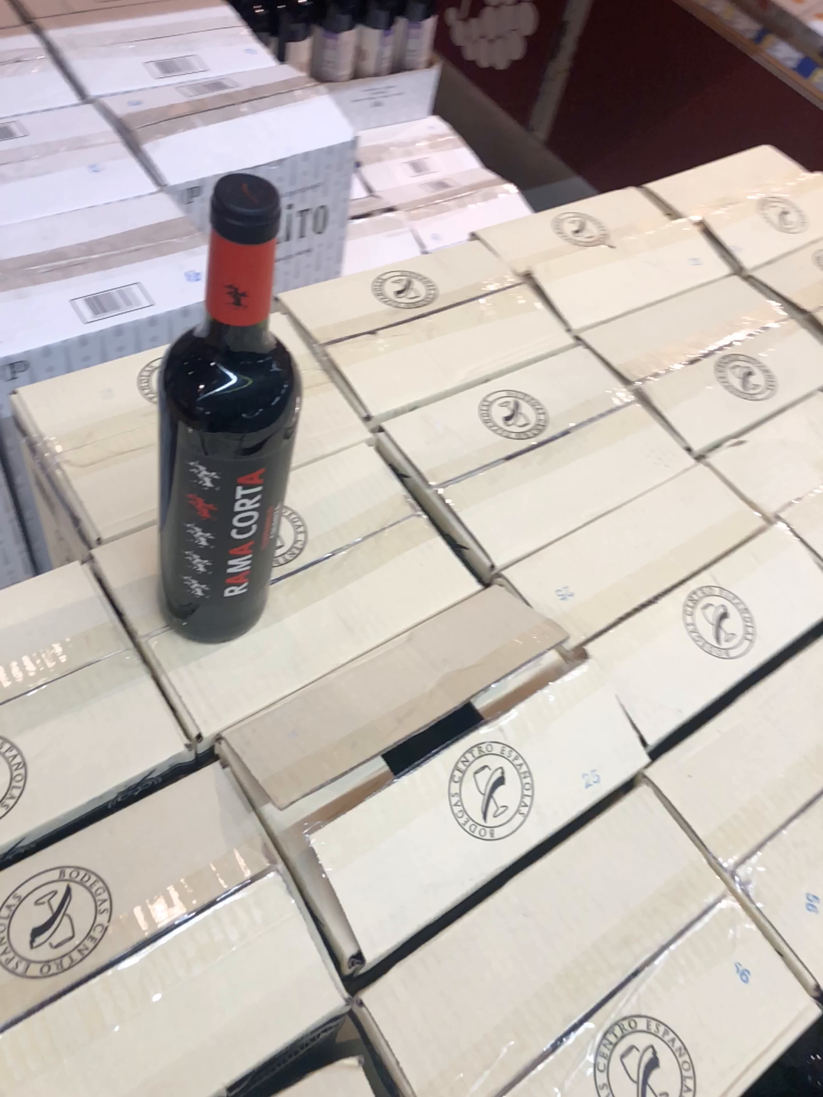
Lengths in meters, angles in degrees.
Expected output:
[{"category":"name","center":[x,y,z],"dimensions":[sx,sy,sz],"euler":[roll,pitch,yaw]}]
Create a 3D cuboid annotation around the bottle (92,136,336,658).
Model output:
[{"category":"bottle","center":[-0.107,-0.053,0.486],"dimensions":[0.090,0.298,0.090],"euler":[6,54,-9]}]
